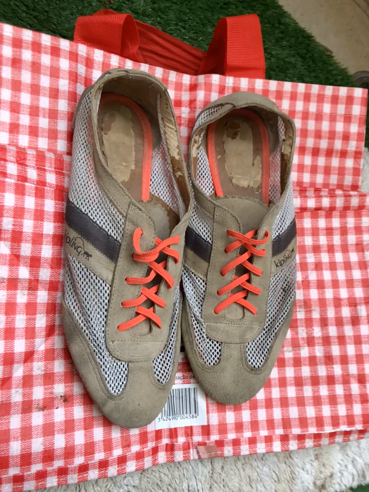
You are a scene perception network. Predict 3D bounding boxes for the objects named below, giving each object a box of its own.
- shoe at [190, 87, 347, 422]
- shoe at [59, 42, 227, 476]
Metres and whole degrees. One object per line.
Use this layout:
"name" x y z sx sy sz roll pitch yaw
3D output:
"shoe" 0.059 0.008 0.310 0.100 0.050 0.230 1 93 -5
"shoe" -0.026 0.008 0.277 0.100 0.050 0.240 -1 92 -38
